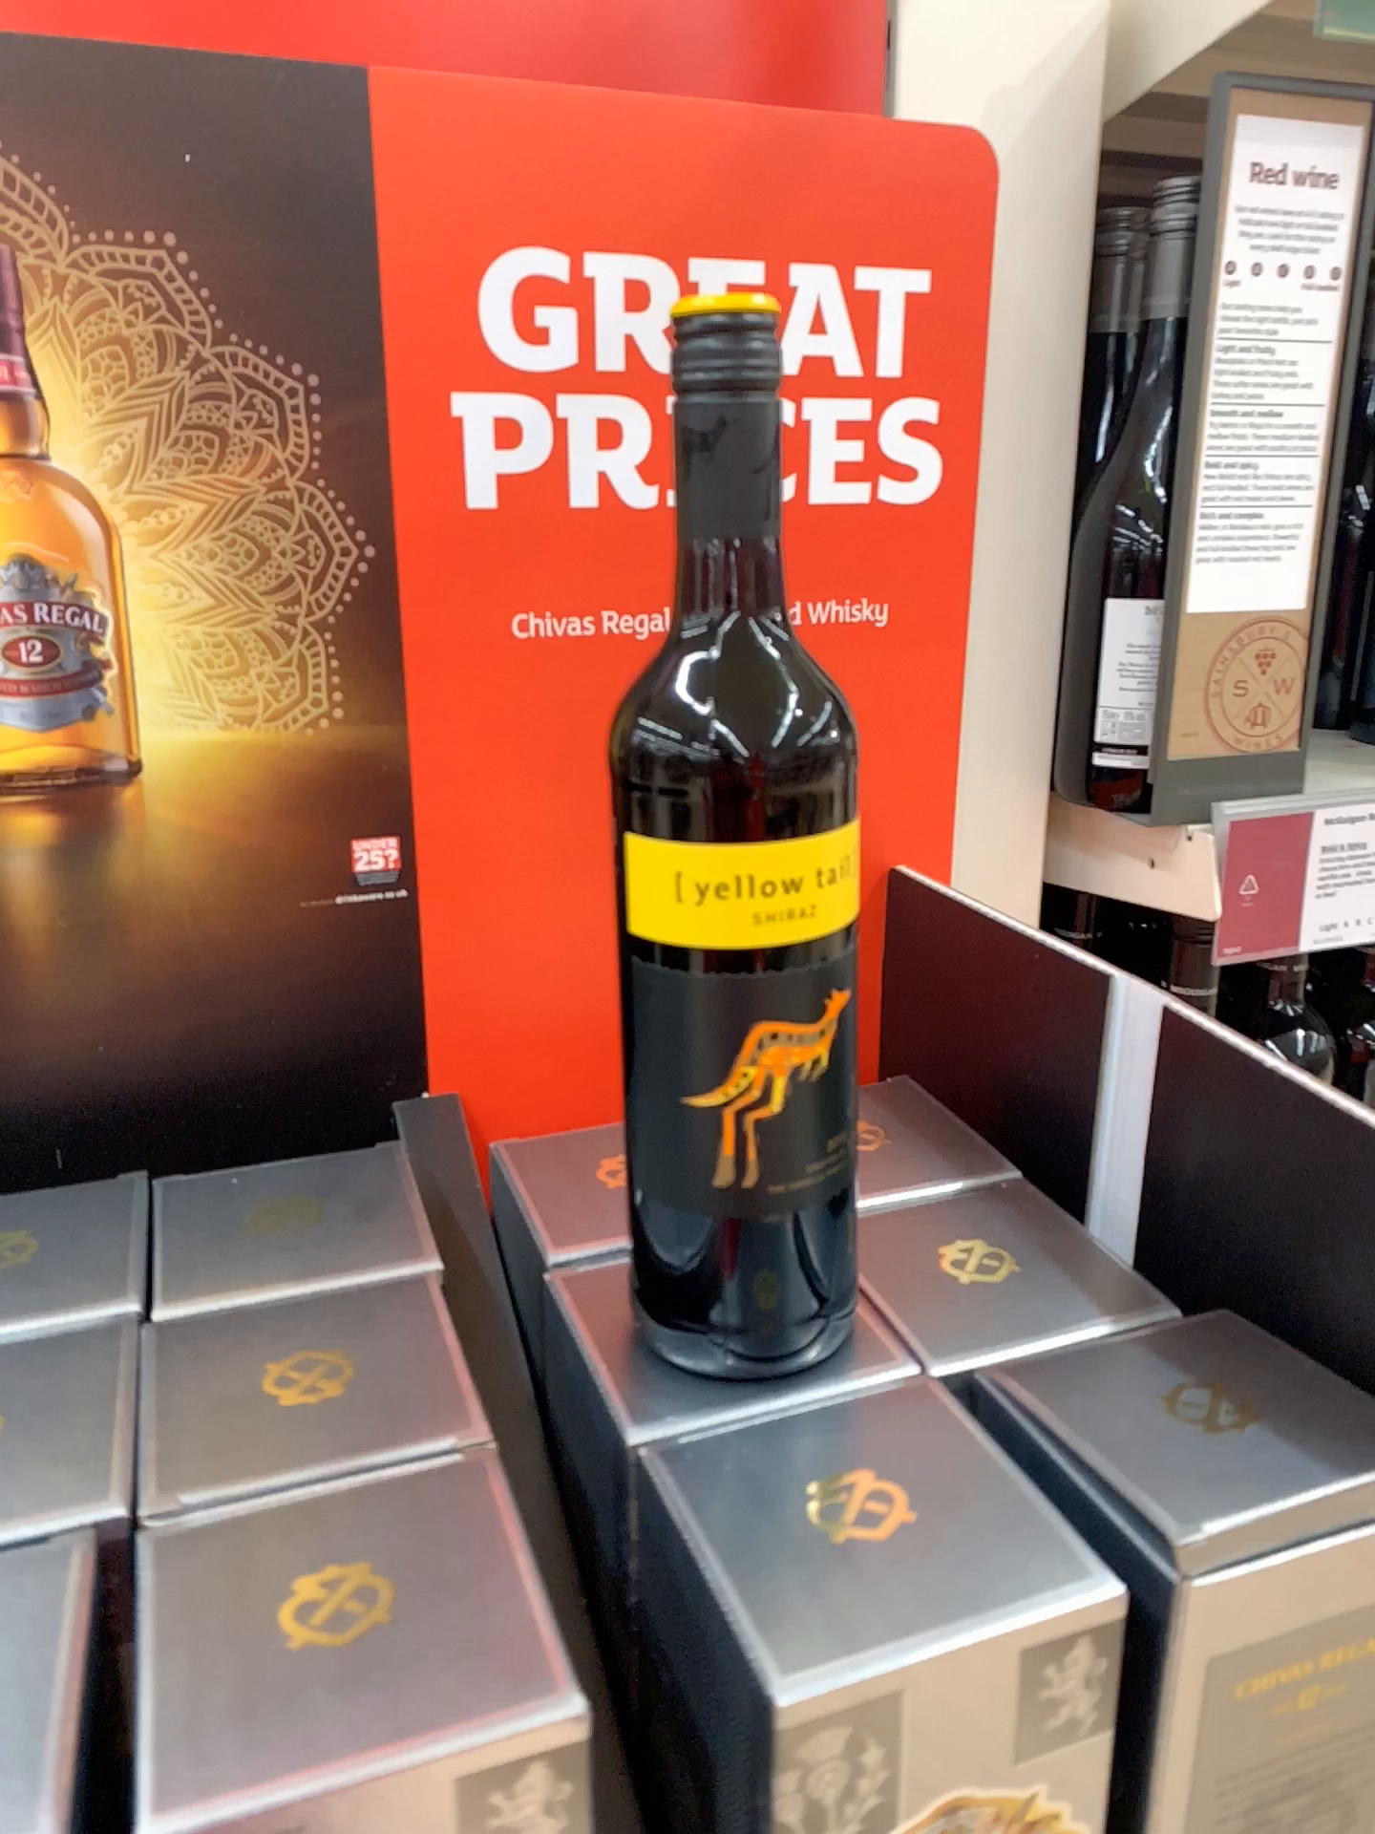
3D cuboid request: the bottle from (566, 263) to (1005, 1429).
[{"bbox_3d":[0.022,-0.016,0.410,0.086,0.308,0.081,0,17,0],"label":"bottle"}]
